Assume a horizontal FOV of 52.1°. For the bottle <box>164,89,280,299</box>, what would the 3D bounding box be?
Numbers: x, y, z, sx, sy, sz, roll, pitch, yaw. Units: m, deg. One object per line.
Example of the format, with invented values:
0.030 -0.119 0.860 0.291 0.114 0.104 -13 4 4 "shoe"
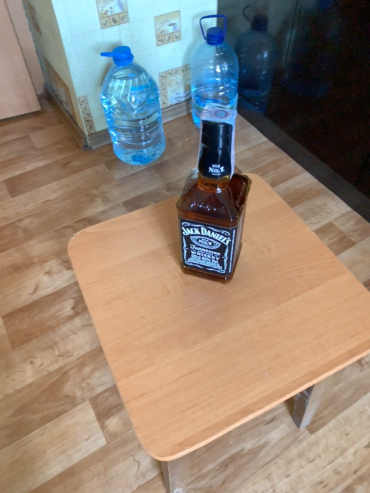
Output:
0.035 -0.042 0.400 0.080 0.209 0.080 0 52 0 "bottle"
